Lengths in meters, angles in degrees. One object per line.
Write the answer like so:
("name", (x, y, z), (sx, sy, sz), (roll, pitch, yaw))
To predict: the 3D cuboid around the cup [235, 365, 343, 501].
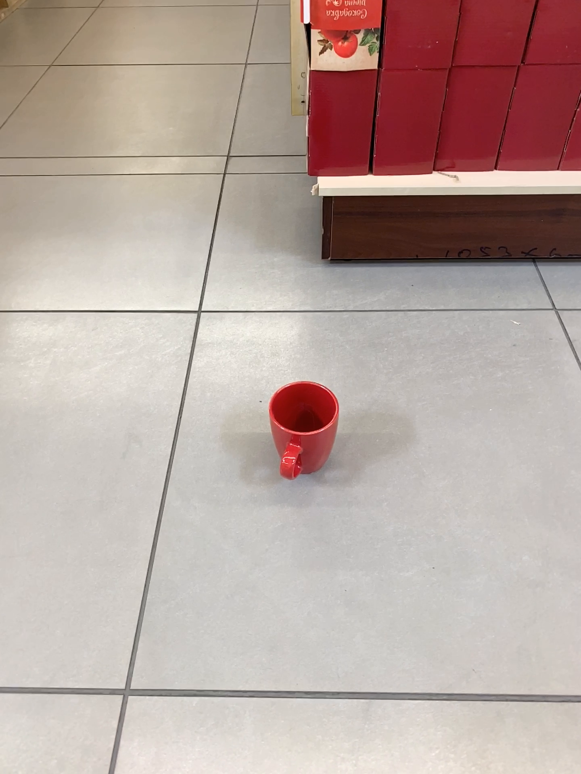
("cup", (0.001, 0.055, 0.738), (0.090, 0.090, 0.120), (16, 49, 16))
